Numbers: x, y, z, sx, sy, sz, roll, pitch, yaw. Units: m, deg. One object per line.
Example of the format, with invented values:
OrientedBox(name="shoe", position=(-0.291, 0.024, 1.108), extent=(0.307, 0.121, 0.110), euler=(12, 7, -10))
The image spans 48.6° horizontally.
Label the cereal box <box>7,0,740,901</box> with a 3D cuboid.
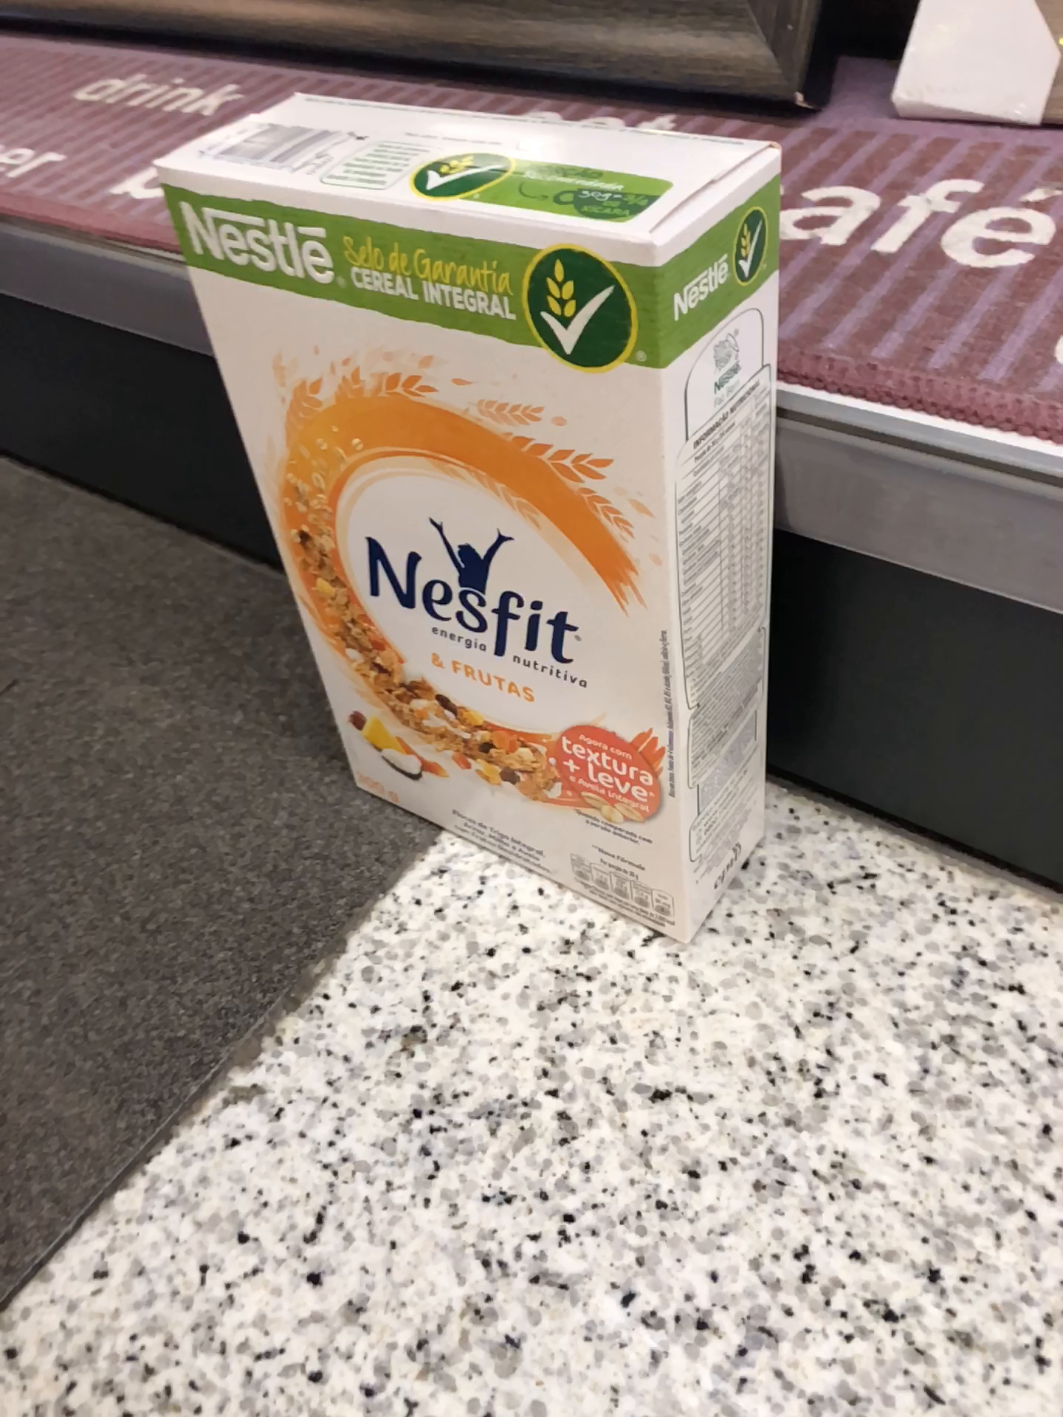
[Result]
OrientedBox(name="cereal box", position=(-0.029, -0.070, 0.359), extent=(0.171, 0.248, 0.060), euler=(21, 53, 29))
